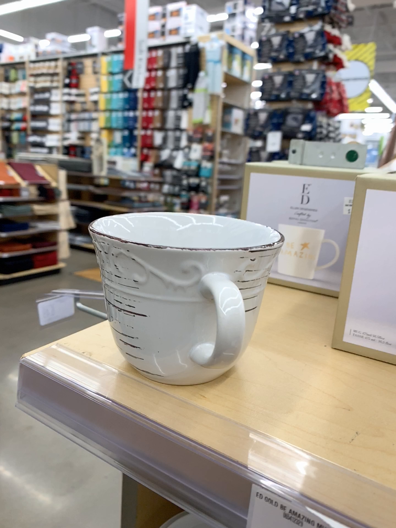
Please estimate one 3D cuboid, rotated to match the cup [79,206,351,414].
[{"bbox_3d":[-0.003,0.013,0.236,0.113,0.075,0.125,4,13,-1],"label":"cup"}]
